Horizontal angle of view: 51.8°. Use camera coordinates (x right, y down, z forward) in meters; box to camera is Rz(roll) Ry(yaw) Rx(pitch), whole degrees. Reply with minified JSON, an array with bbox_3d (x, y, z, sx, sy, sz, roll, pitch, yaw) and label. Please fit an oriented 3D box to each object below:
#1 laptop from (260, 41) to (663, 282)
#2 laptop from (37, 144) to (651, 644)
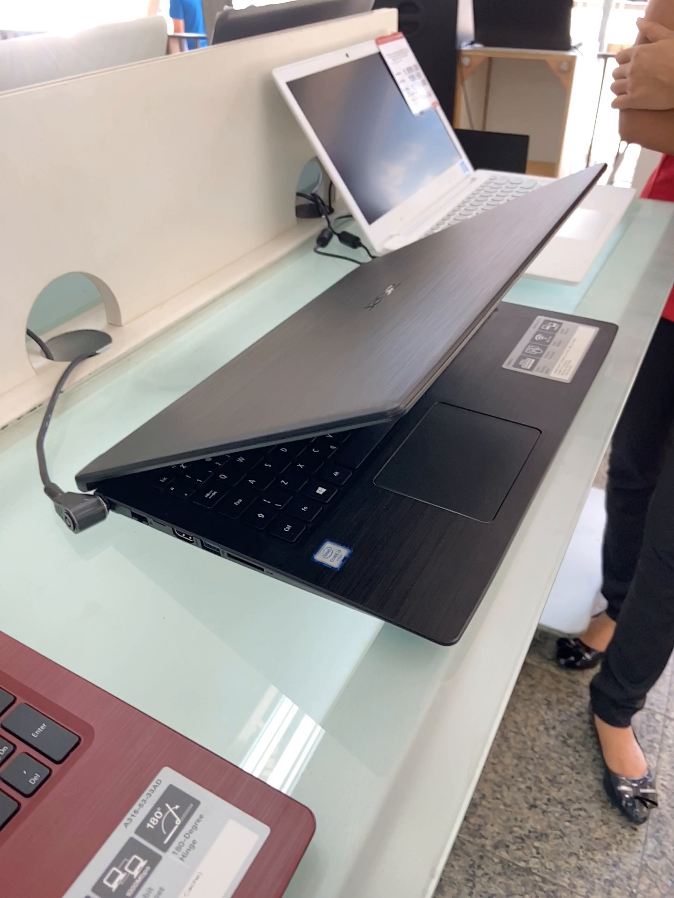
[{"bbox_3d":[0.166,-0.373,0.835,0.351,0.165,0.383,16,38,22],"label":"laptop"},{"bbox_3d":[0.043,-0.090,0.482,0.239,0.123,0.380,18,41,24],"label":"laptop"}]
